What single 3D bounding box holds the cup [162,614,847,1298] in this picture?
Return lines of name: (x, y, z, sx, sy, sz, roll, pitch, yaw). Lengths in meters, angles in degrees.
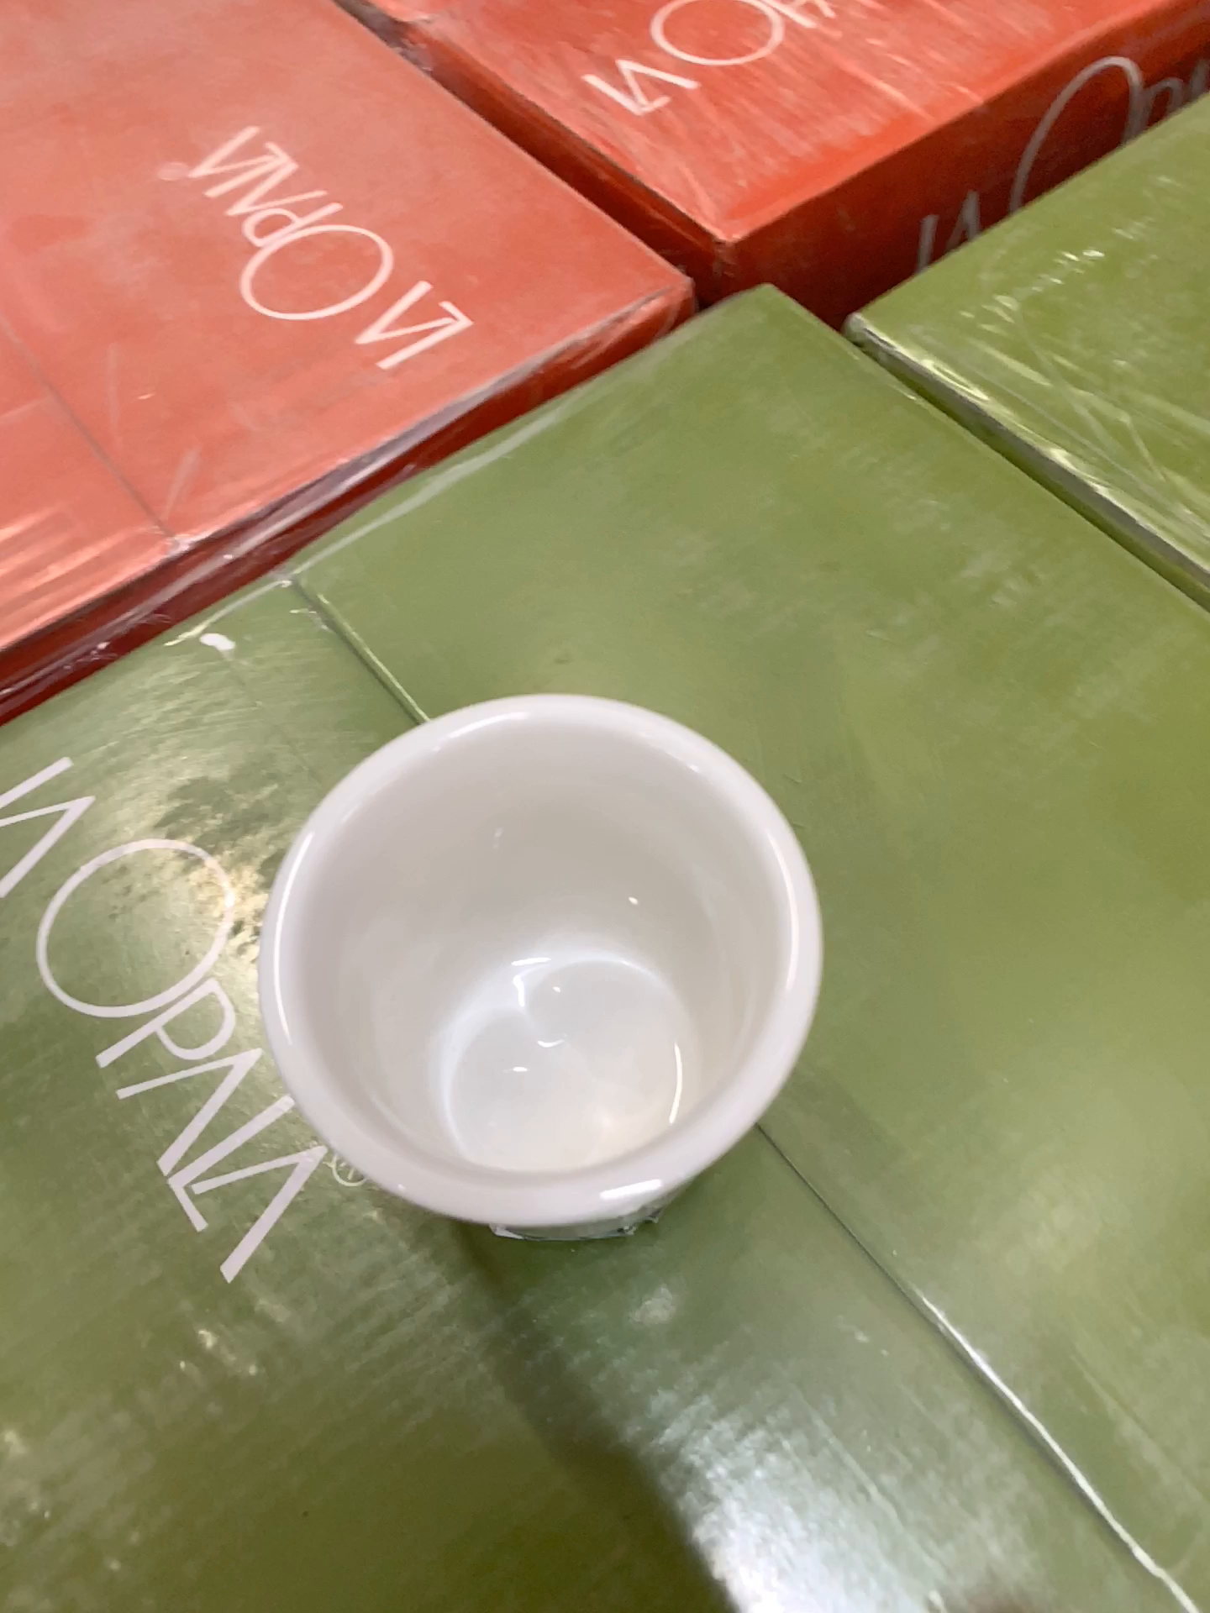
cup: (-0.011, 0.023, 0.171, 0.070, 0.060, 0.070, -1, 59, 2)
